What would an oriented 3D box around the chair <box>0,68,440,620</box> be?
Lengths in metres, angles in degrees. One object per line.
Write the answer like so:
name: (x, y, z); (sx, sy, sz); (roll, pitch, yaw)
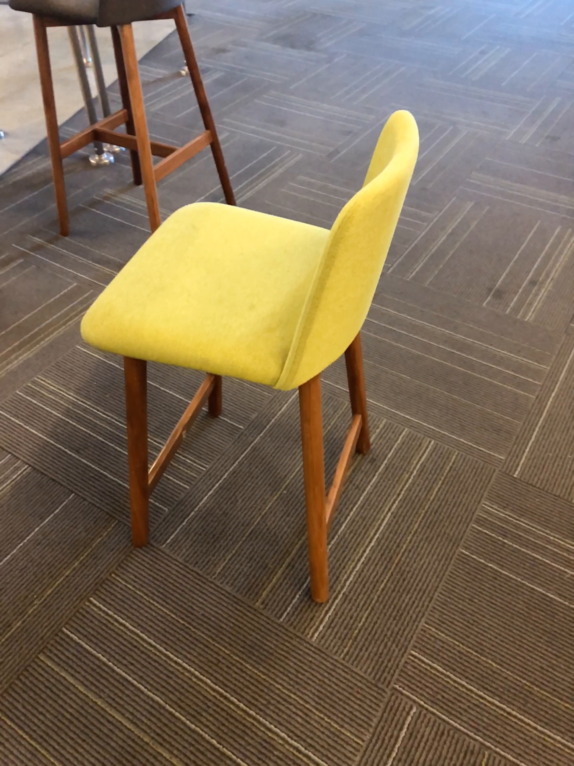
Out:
chair: (-0.066, -0.037, 1.209); (0.510, 0.876, 0.462); (12, 45, 13)
